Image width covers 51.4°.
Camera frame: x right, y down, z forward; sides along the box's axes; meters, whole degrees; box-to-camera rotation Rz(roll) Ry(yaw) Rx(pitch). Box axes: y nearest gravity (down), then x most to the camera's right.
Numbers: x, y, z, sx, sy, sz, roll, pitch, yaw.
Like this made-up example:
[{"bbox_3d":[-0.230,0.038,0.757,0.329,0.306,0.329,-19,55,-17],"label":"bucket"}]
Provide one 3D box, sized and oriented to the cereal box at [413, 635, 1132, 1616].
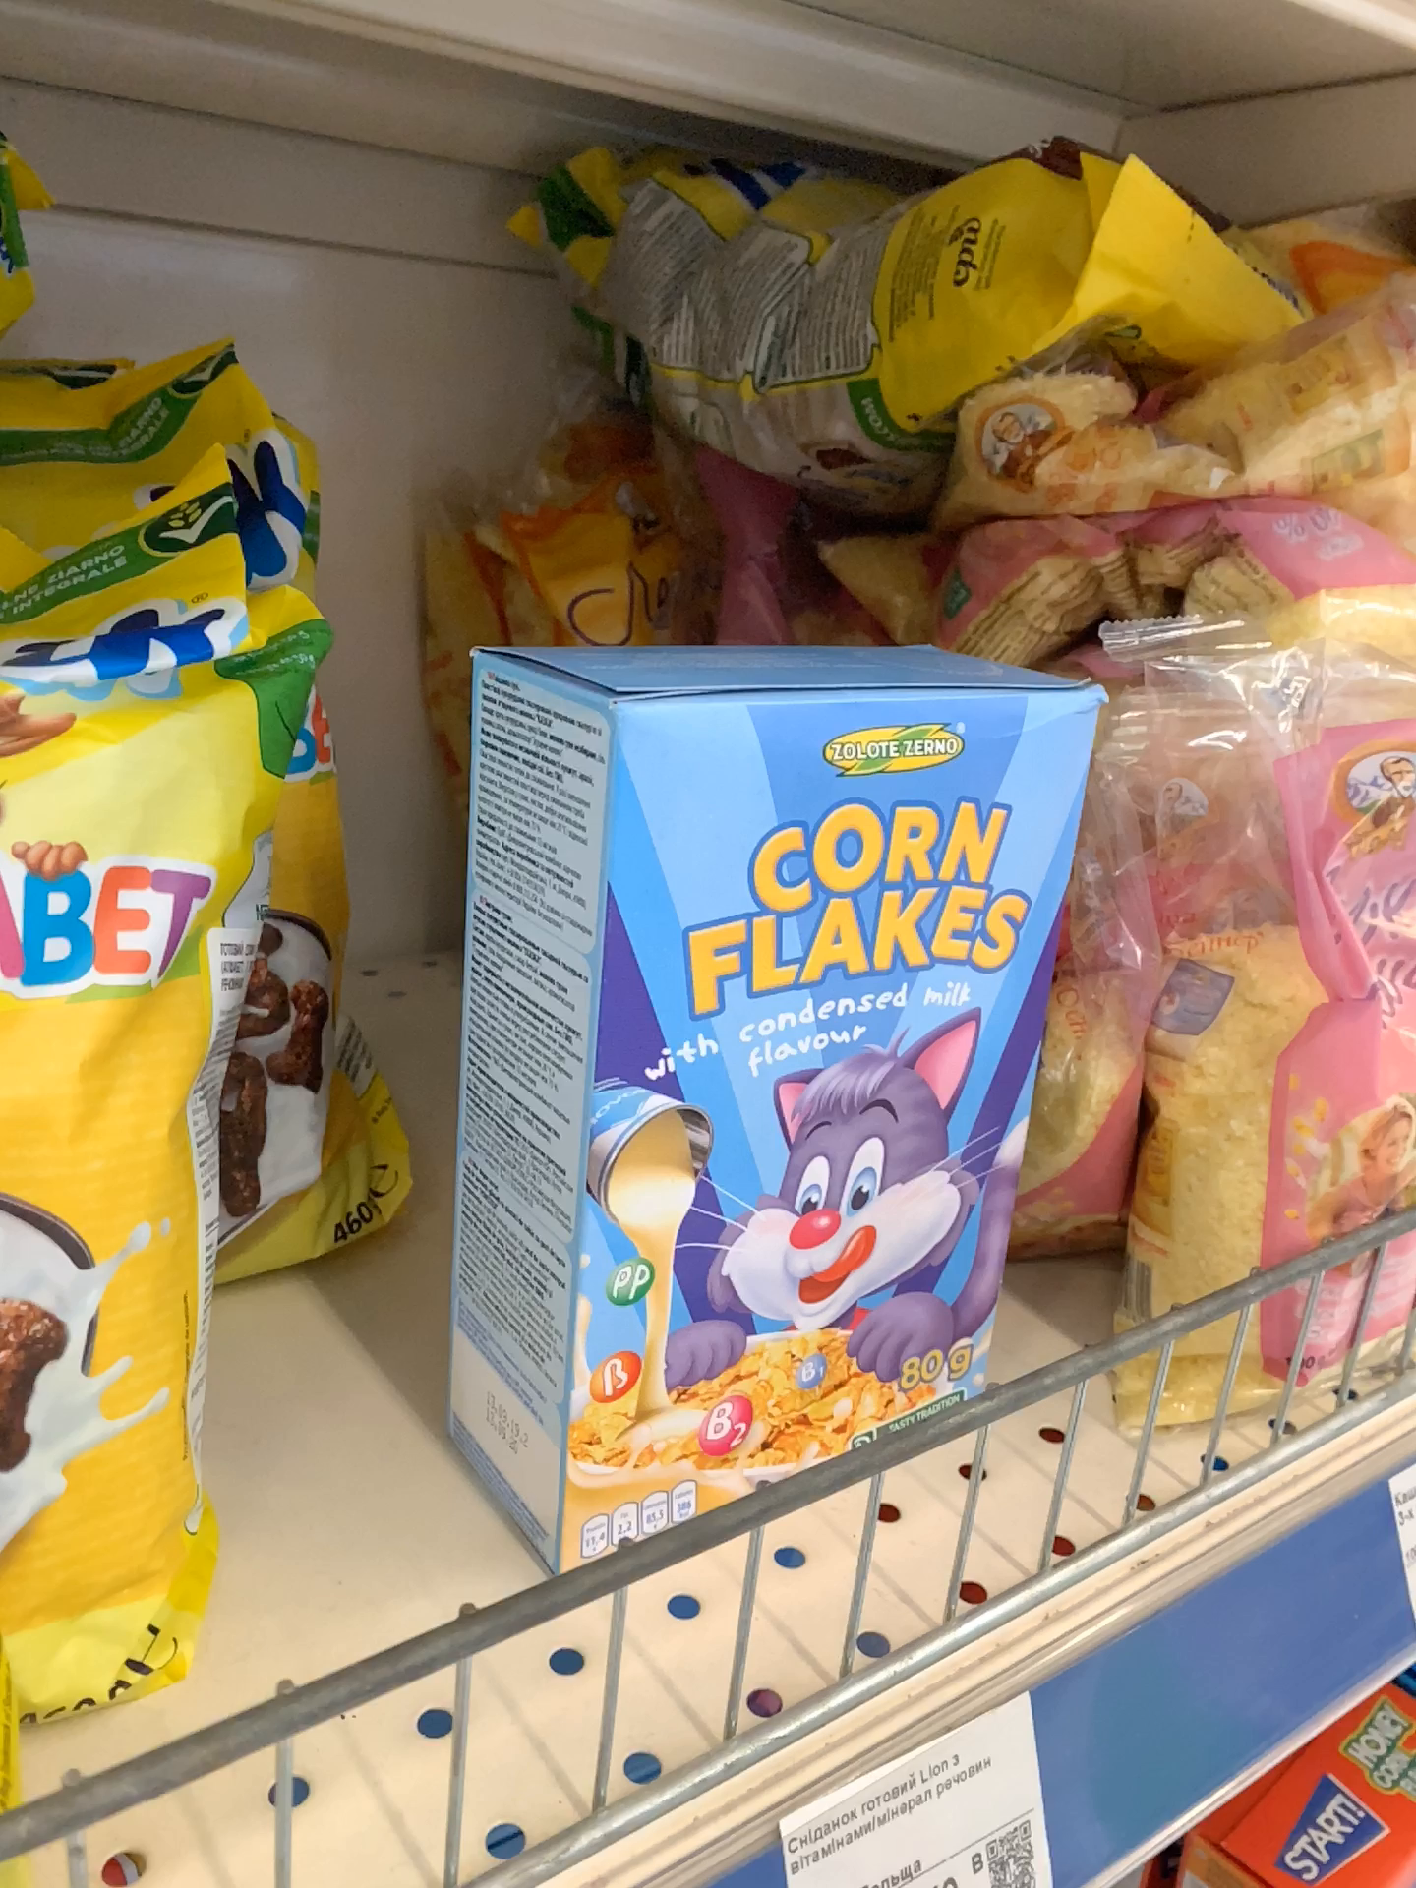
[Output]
[{"bbox_3d":[0.010,0.026,0.284,0.120,0.159,0.050,-9,22,-34],"label":"cereal box"}]
